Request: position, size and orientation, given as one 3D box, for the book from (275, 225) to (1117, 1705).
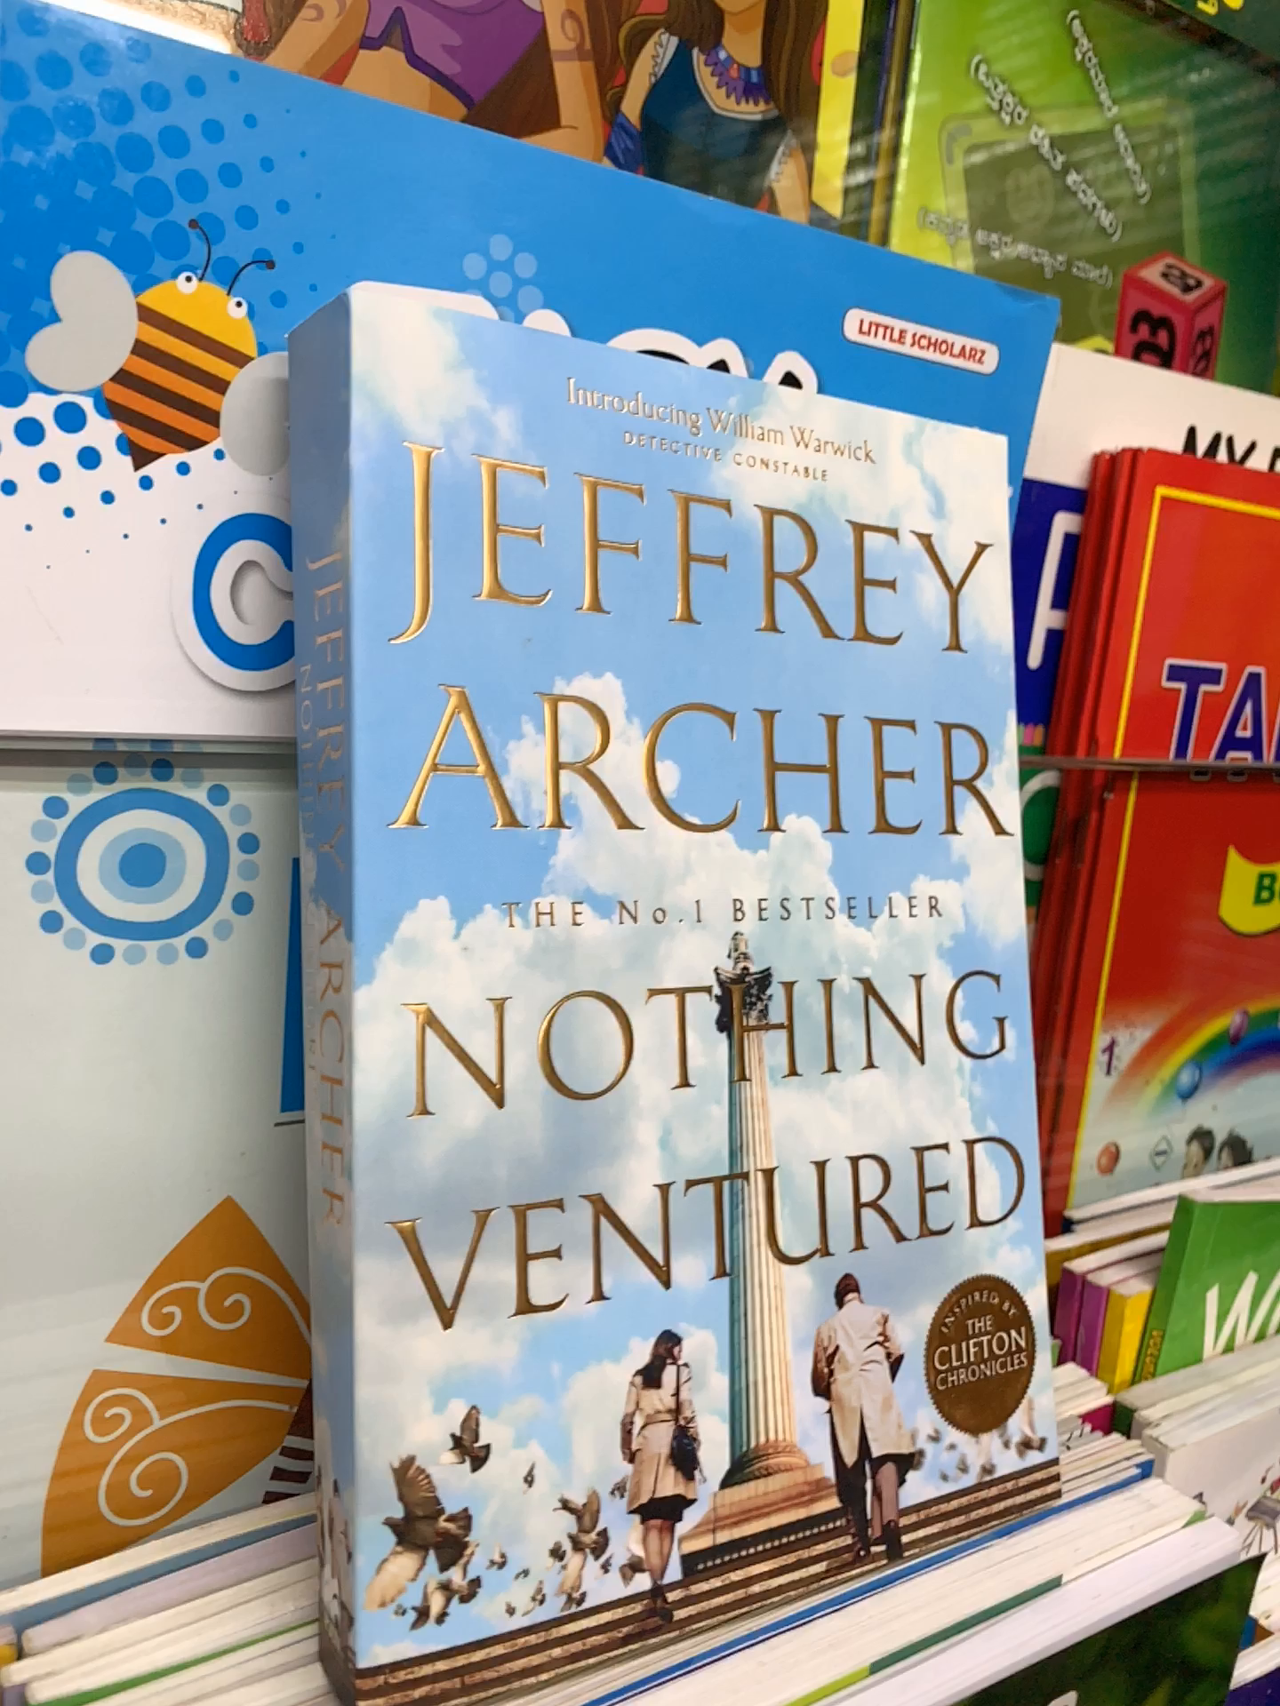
[{"bbox_3d":[0.013,0.015,0.210,0.130,0.190,0.030,0,-4,-30],"label":"book"}]
